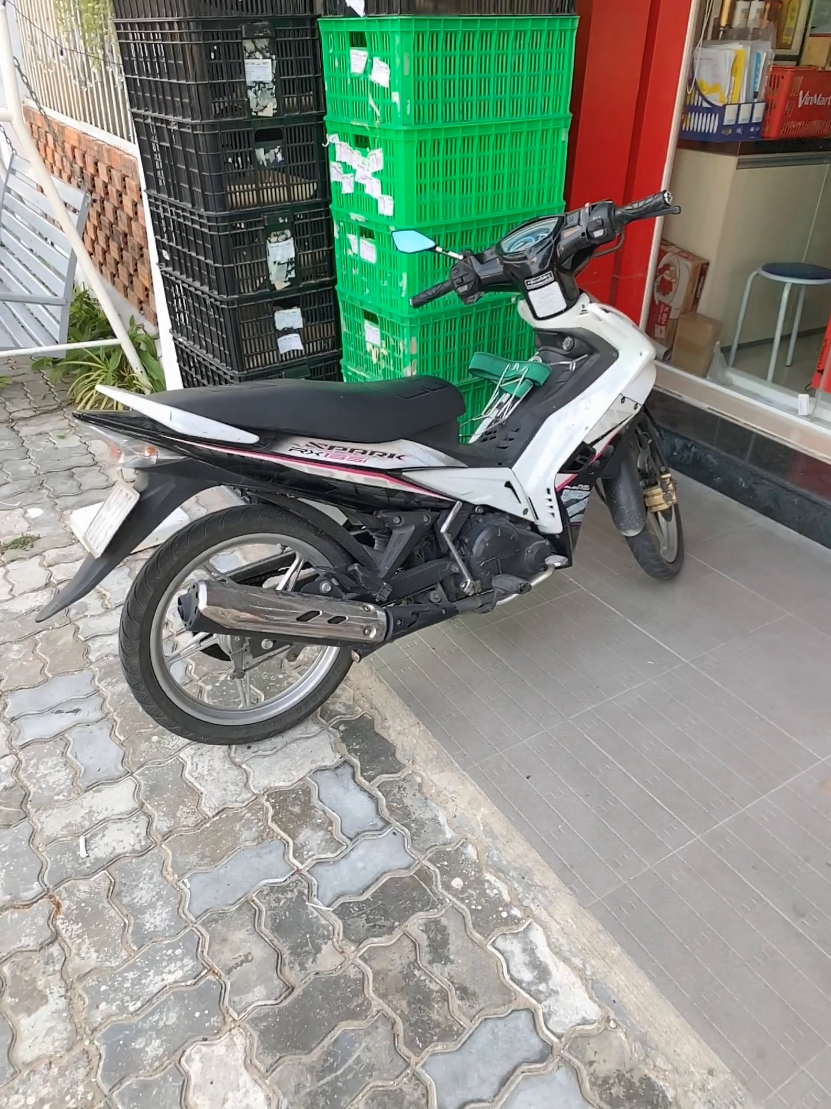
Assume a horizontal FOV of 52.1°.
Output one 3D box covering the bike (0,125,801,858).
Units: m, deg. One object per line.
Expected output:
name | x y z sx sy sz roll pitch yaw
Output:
bike | 0.057 -0.338 2.187 1.817 1.187 0.669 -23 39 -32
